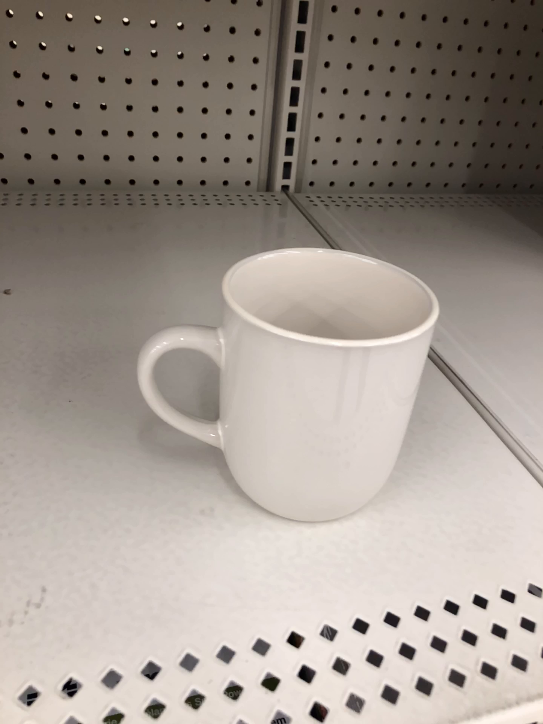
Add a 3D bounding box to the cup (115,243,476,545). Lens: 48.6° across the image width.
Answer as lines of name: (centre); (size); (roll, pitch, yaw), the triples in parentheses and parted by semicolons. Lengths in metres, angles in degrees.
cup: (0.001, 0.009, 0.257); (0.121, 0.090, 0.087); (0, 31, -9)
